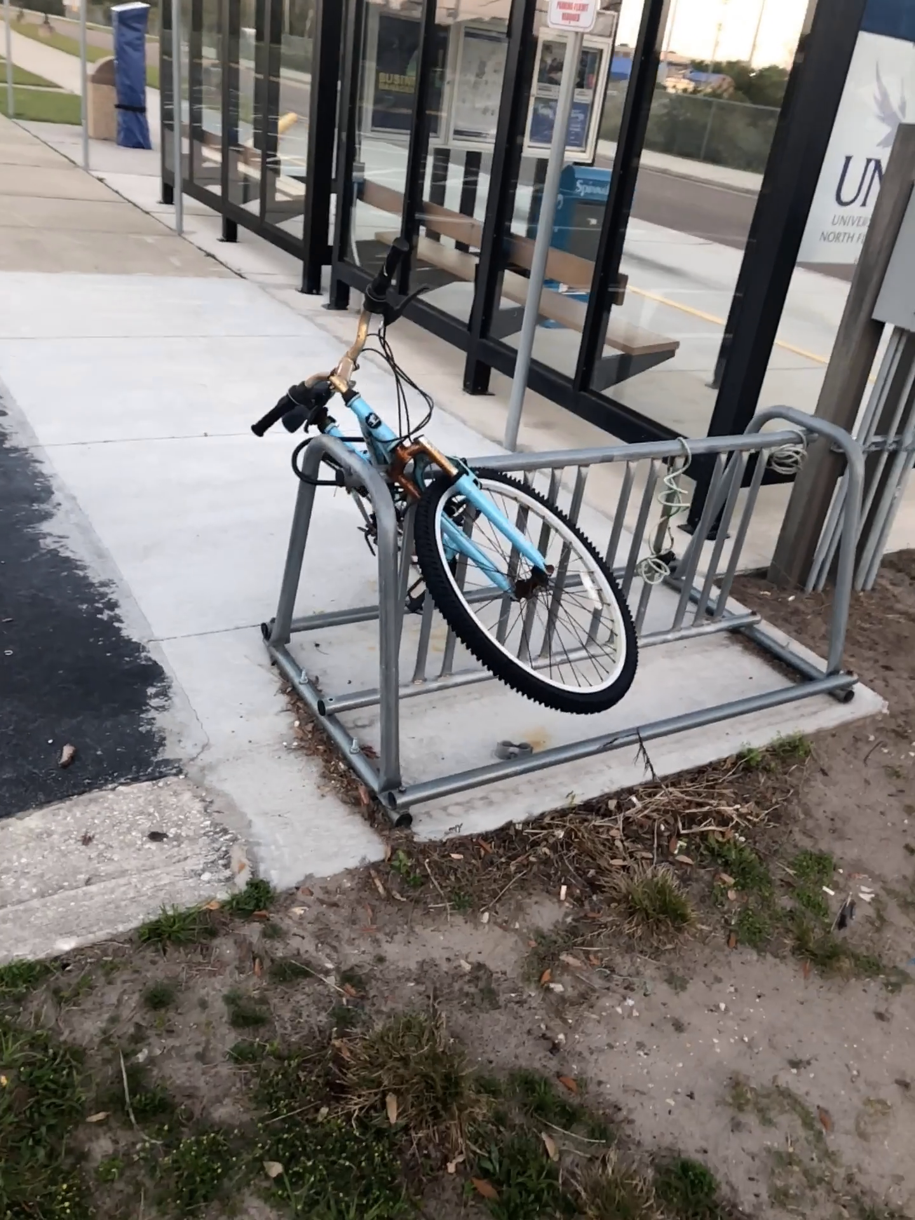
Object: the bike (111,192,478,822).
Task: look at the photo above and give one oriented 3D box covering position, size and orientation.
[{"bbox_3d":[-0.343,-0.268,2.200,0.548,1.127,0.943,4,26,-9],"label":"bike"}]
